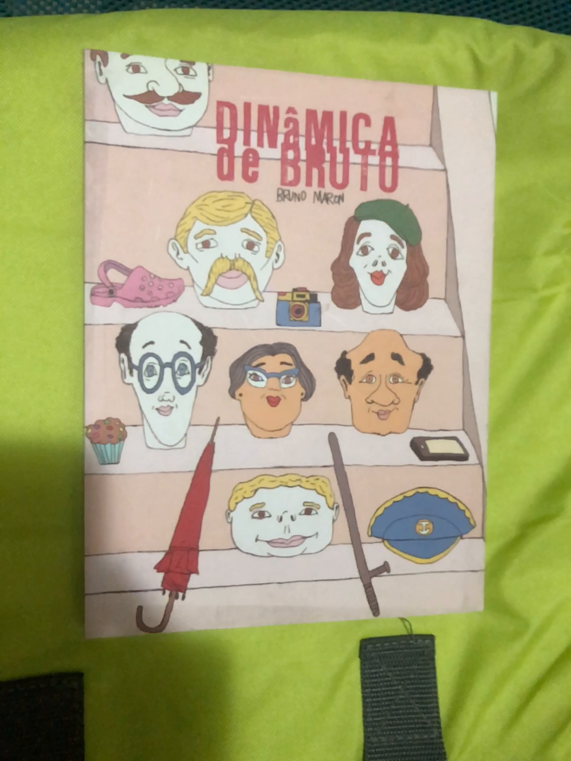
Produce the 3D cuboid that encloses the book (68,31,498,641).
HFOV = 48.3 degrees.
[{"bbox_3d":[0.002,-0.016,0.275,0.179,0.020,0.239,0,92,-10],"label":"book"}]
